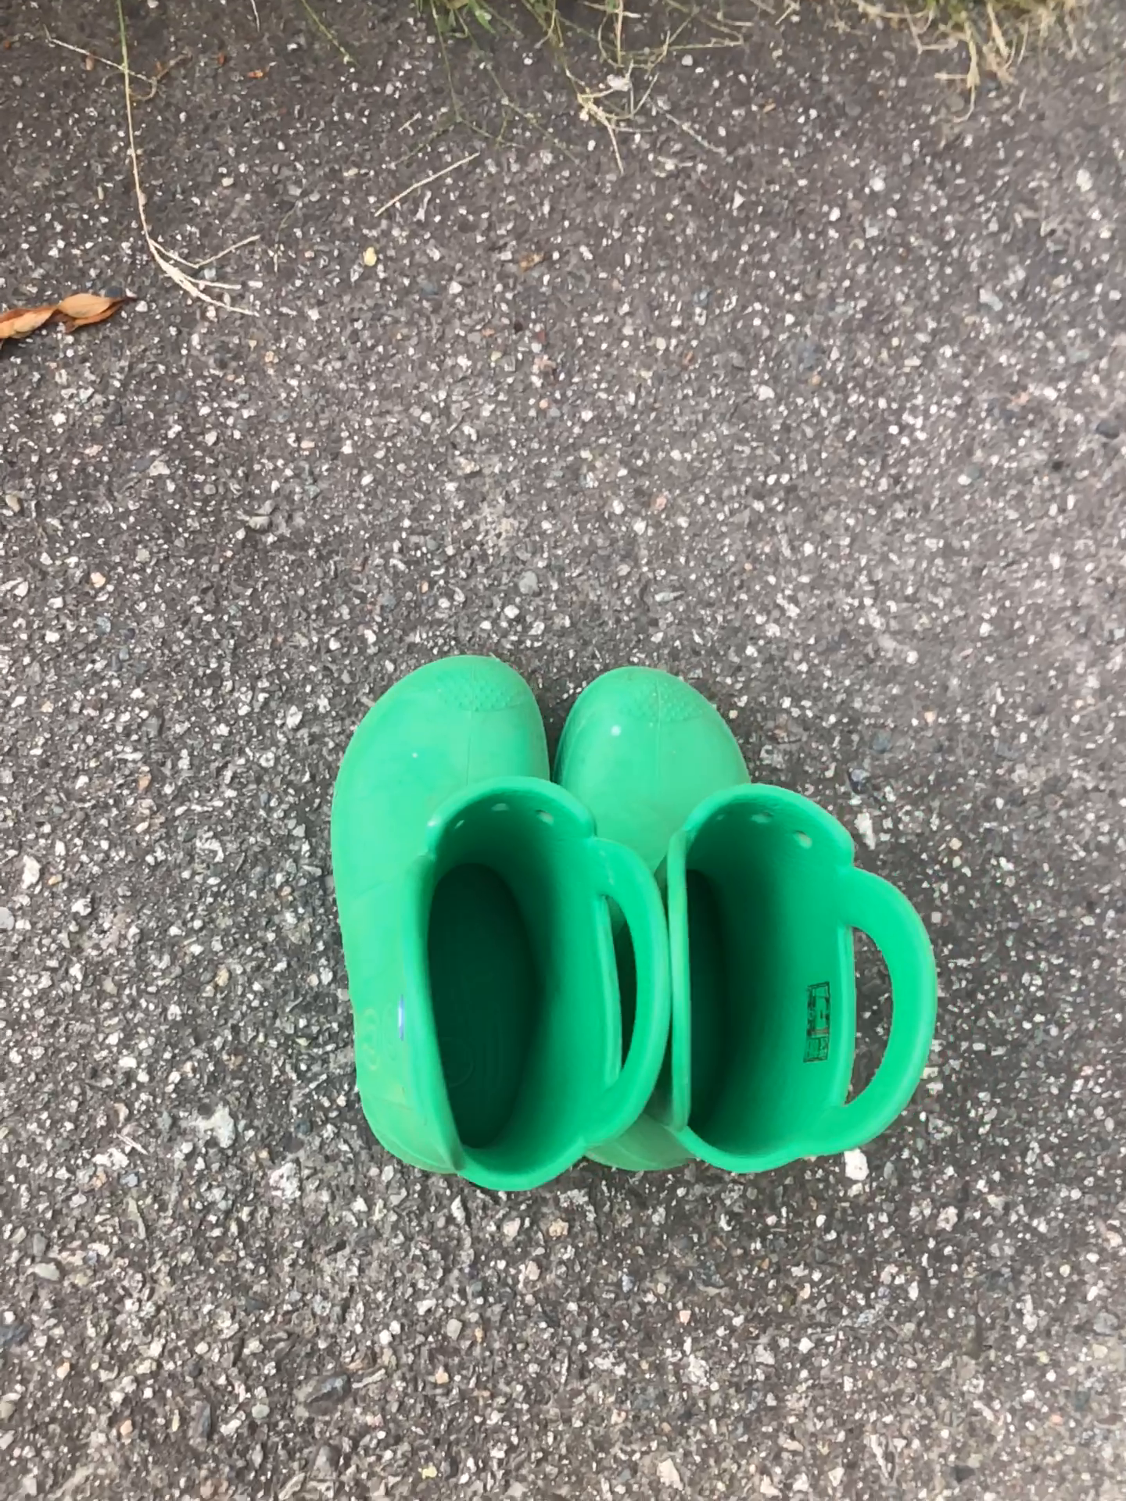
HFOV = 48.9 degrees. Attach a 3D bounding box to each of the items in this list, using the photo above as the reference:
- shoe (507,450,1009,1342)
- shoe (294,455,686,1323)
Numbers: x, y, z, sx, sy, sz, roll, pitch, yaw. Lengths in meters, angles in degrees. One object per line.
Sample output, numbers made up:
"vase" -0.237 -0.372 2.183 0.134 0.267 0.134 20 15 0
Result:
"shoe" 0.052 0.059 0.498 0.110 0.260 0.260 2 79 -11
"shoe" -0.040 0.054 0.479 0.110 0.230 0.250 2 79 -11
